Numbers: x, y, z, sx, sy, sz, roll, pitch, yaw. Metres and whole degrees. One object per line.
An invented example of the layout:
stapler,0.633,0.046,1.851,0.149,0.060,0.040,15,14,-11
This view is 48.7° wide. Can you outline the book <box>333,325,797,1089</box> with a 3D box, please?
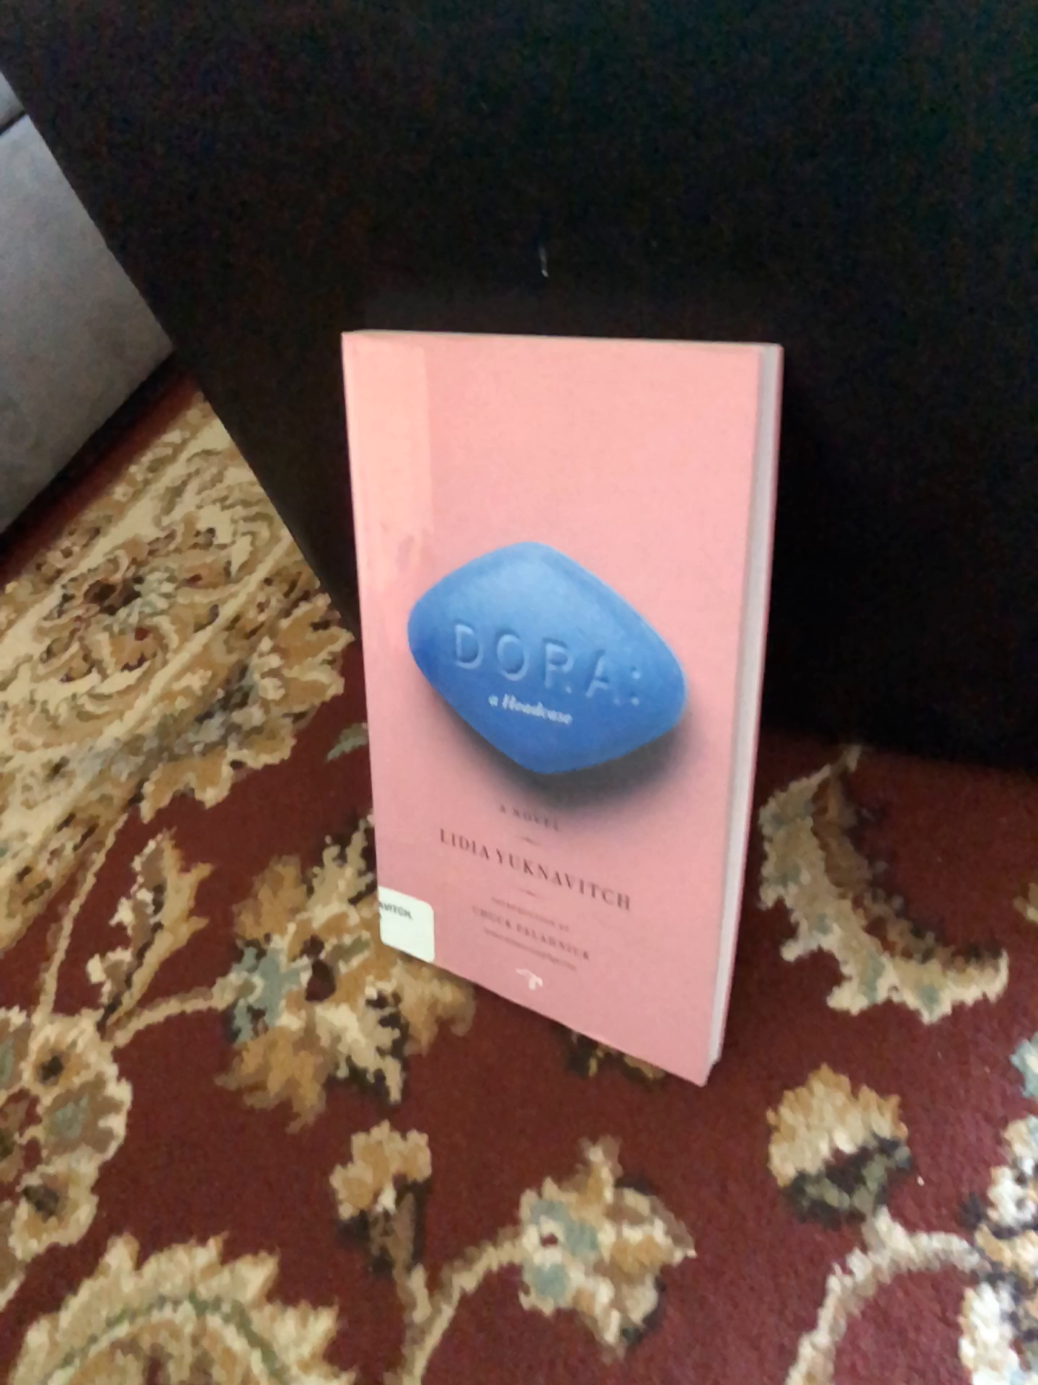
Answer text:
book,0.007,0.001,0.387,0.149,0.231,0.030,15,25,34
